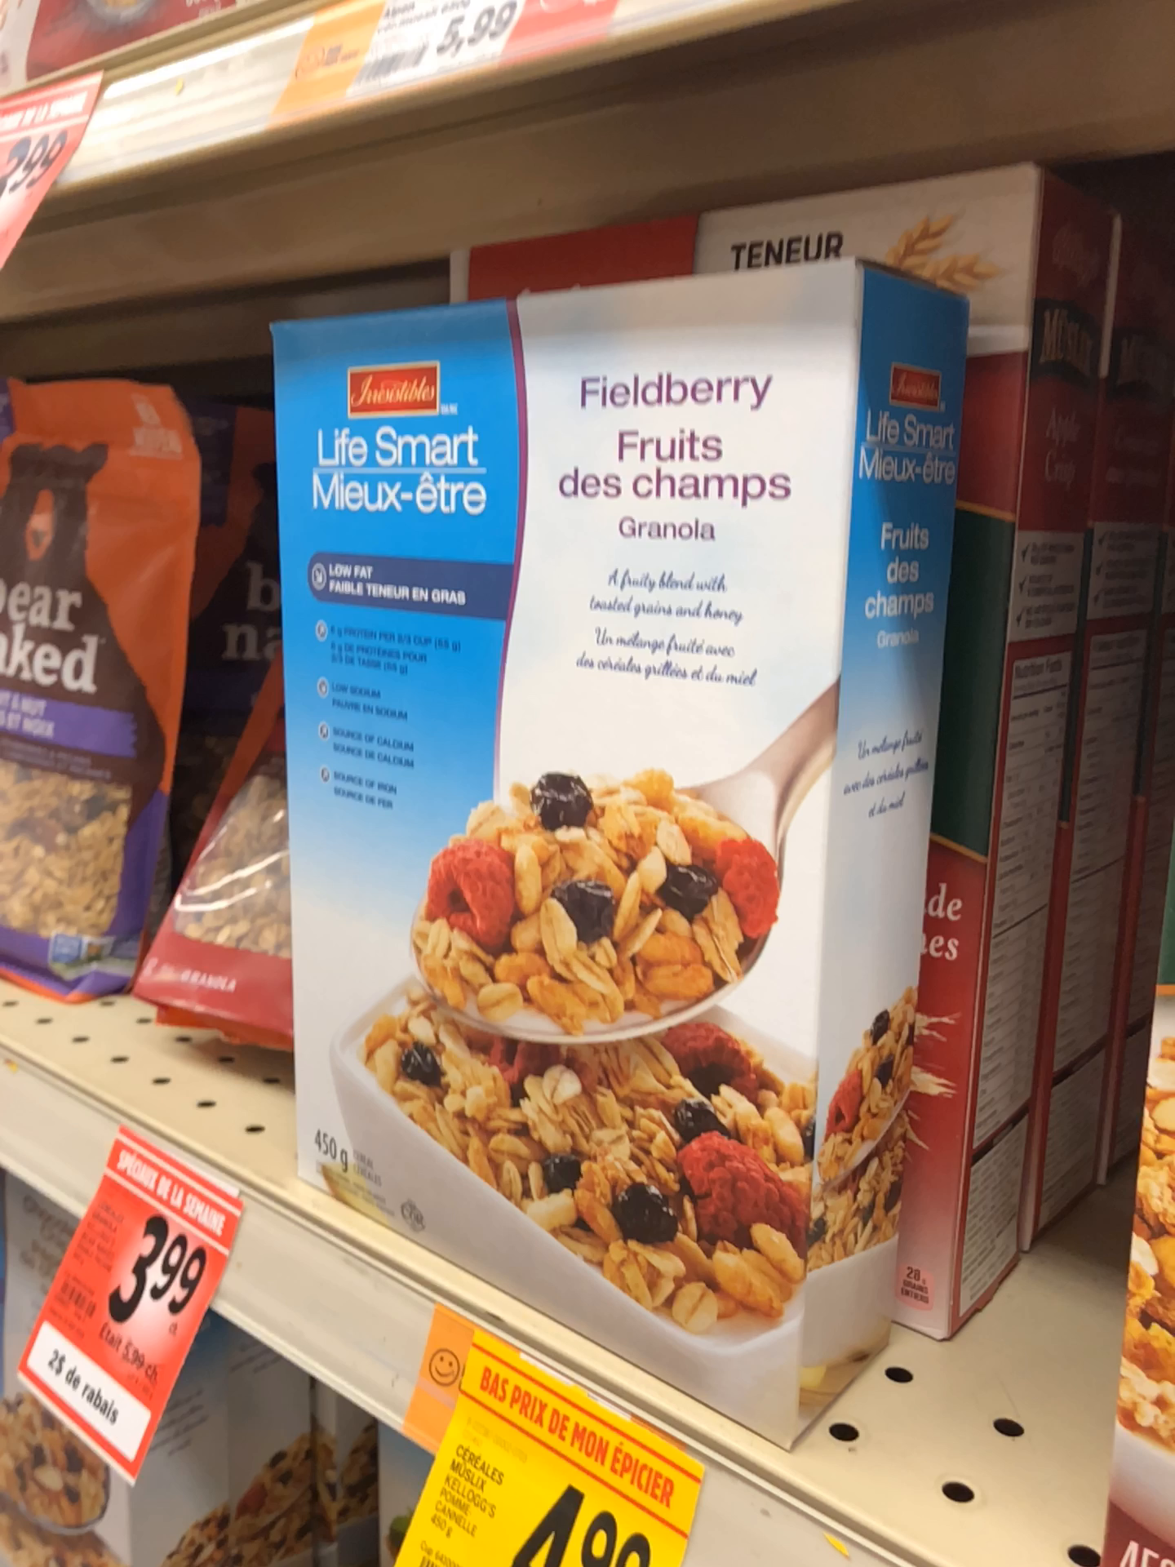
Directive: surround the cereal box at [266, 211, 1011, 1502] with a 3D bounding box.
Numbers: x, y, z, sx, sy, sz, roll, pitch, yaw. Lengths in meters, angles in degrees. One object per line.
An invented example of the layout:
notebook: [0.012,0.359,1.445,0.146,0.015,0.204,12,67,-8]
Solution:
cereal box: [-0.001,0.008,0.308,0.170,0.239,0.050,11,15,41]
